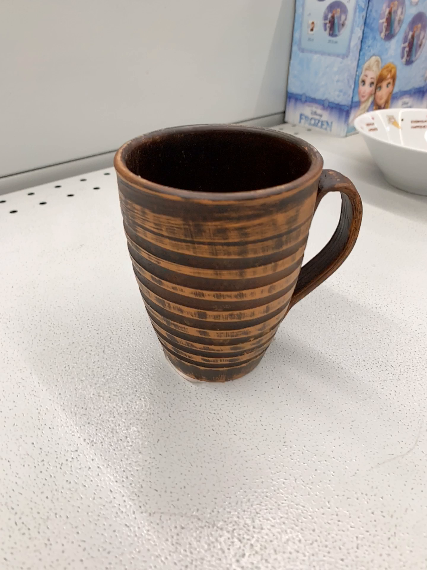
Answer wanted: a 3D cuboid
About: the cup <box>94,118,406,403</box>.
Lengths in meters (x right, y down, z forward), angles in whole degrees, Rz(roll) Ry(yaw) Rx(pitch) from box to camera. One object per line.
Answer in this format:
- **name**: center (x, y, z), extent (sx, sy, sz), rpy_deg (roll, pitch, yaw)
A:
- **cup**: center (0.007, -0.018, 0.206), extent (0.105, 0.089, 0.084), rpy_deg (-8, 36, -13)
